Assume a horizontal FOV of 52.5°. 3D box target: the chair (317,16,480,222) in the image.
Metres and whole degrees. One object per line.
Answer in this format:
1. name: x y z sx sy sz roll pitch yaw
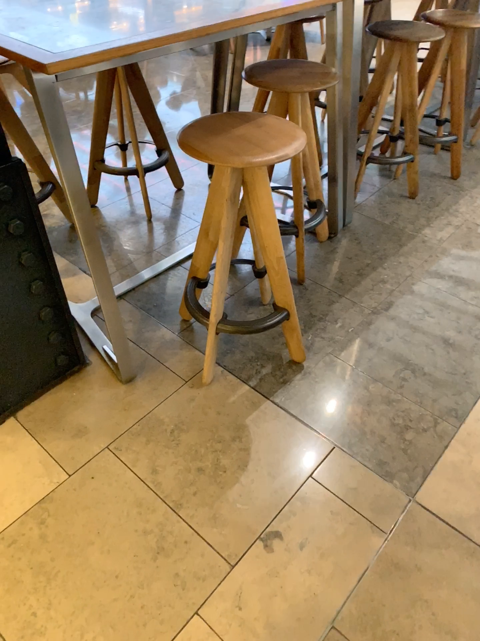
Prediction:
1. chair: 0.716 -0.938 2.272 0.435 0.705 0.475 31 51 29

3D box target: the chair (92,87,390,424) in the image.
1. chair: 0.004 -0.215 1.493 0.555 0.705 0.536 31 51 29

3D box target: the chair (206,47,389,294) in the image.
1. chair: 0.196 -0.579 1.883 0.424 0.705 0.465 31 51 29
